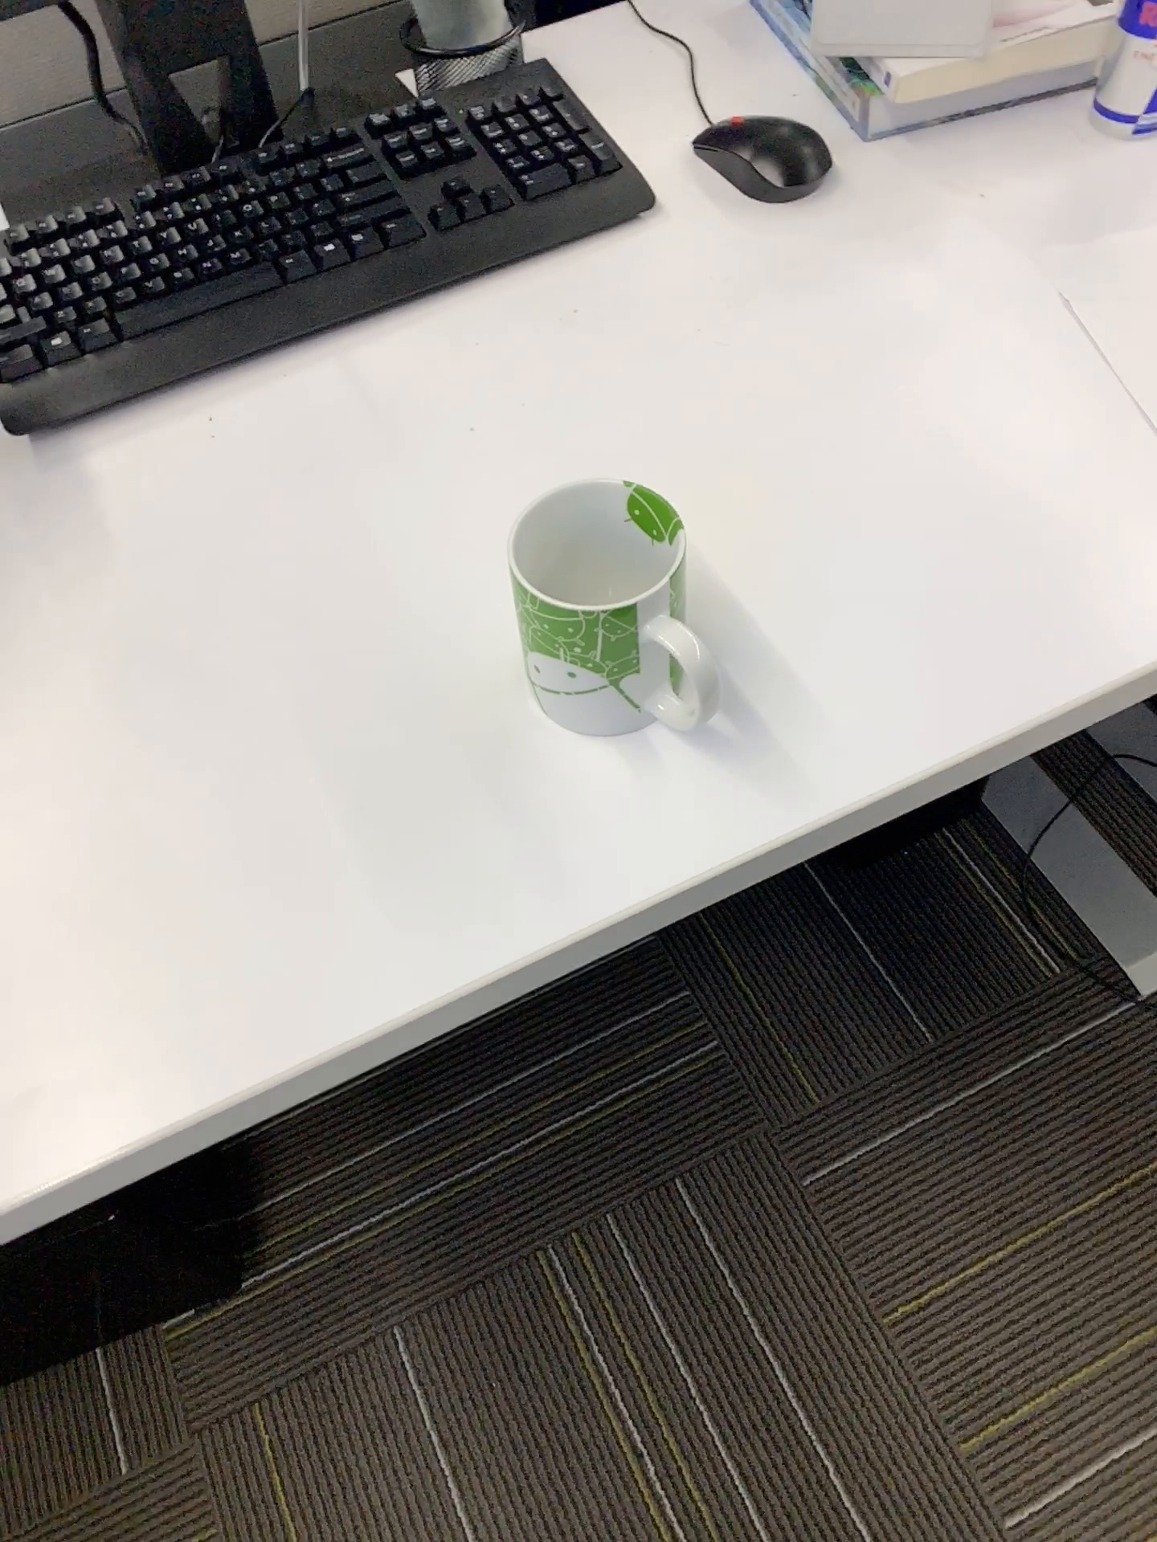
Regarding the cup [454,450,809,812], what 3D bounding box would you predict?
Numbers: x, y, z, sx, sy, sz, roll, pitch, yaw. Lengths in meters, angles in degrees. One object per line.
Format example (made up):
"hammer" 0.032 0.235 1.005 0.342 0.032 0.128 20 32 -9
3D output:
"cup" 0.024 -0.064 0.531 0.120 0.080 0.090 35 66 25
